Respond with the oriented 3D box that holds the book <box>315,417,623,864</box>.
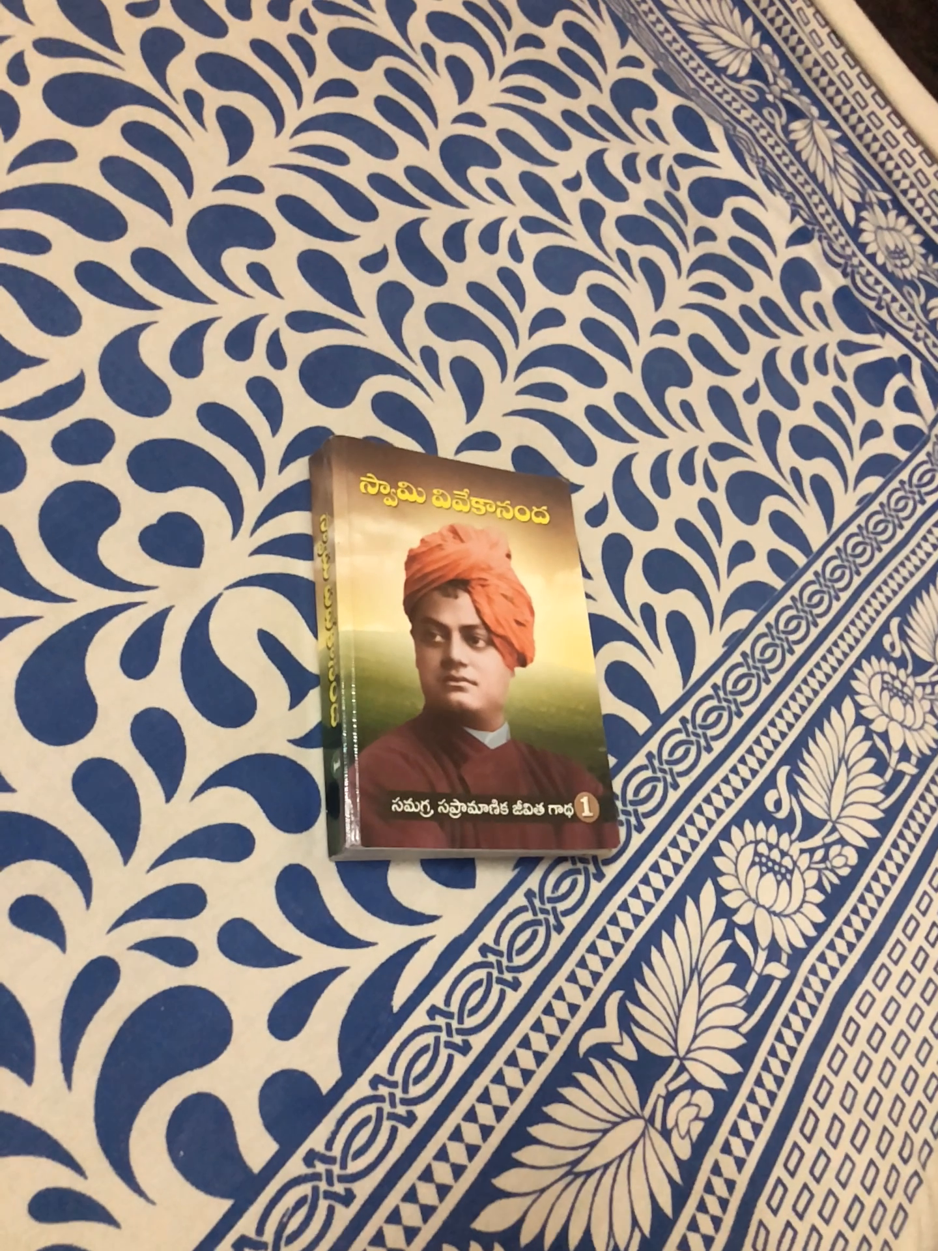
[{"bbox_3d":[-0.002,0.009,0.514,0.141,0.030,0.210,7,66,-29],"label":"book"}]
